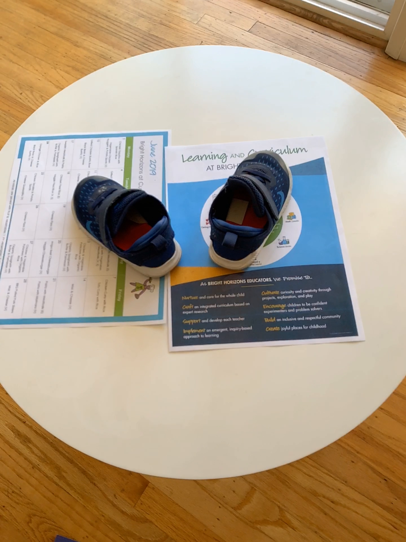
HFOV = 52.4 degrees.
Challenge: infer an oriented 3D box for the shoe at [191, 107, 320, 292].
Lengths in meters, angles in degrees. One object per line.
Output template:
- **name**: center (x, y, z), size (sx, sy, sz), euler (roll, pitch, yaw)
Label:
- **shoe**: center (0.062, -0.082, 0.492), size (0.080, 0.110, 0.170), euler (22, 70, 12)

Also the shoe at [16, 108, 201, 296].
- **shoe**: center (-0.095, -0.072, 0.451), size (0.170, 0.110, 0.080), euler (39, 75, 17)
